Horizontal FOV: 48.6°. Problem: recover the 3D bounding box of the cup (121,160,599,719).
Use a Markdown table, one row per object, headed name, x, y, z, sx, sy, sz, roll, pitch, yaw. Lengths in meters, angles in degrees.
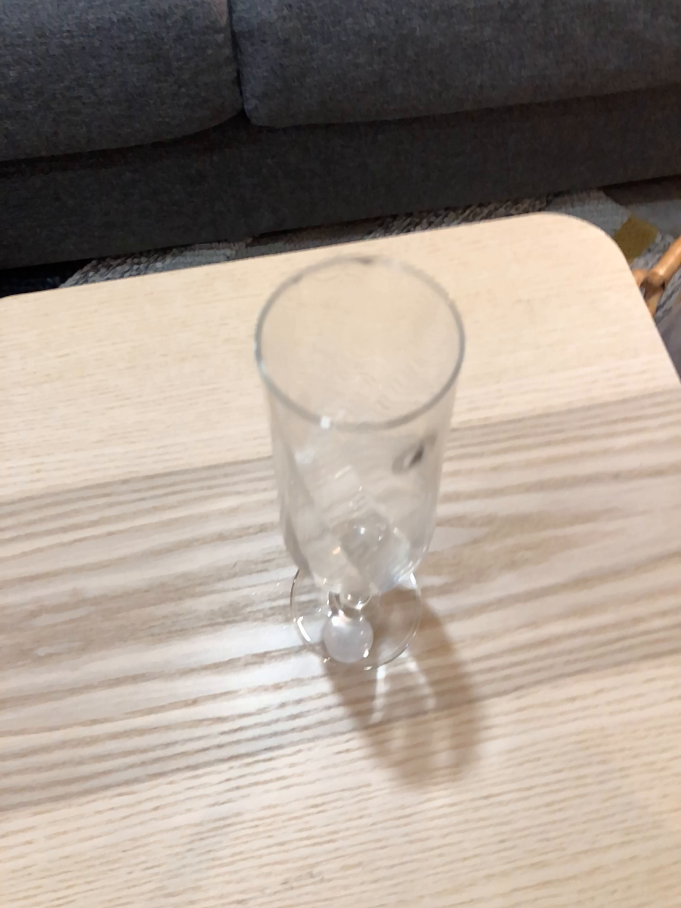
| name | x | y | z | sx | sy | sz | roll | pitch | yaw |
| --- | --- | --- | --- | --- | --- | --- | --- | --- | --- |
| cup | 0.007 | 0.025 | 0.285 | 0.080 | 0.240 | 0.080 | 0 | 63 | 1 |
